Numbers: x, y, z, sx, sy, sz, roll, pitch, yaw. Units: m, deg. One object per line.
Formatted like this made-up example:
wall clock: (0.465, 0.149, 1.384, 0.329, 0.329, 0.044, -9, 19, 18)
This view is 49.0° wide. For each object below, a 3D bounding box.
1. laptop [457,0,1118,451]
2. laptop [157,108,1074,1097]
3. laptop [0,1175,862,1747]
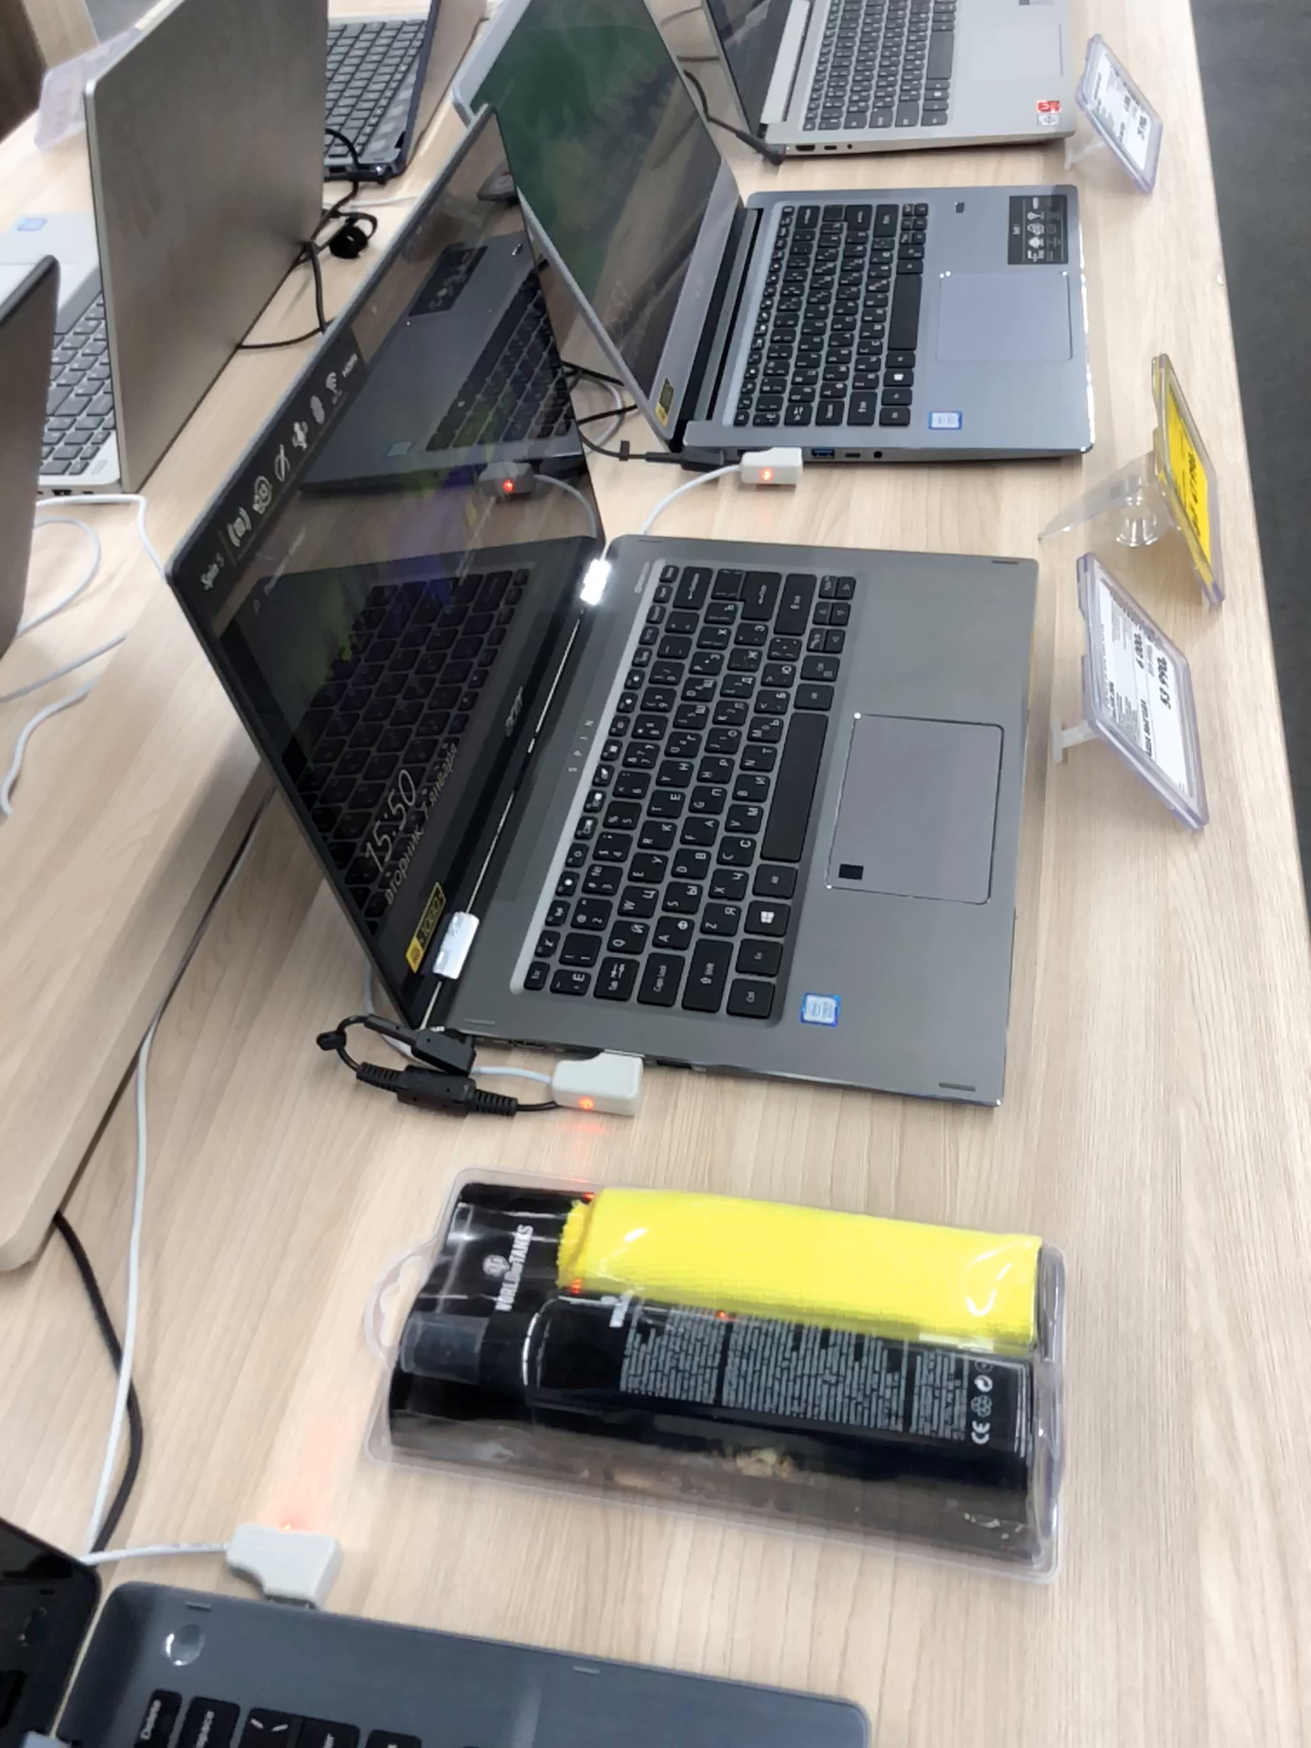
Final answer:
laptop: (0.091, -0.408, 0.811, 0.298, 0.196, 0.271, 3, 51, 10)
laptop: (0.022, -0.121, 0.561, 0.245, 0.215, 0.316, 5, 49, 12)
laptop: (-0.127, 0.276, 0.225, 0.288, 0.215, 0.341, 5, 50, 11)
